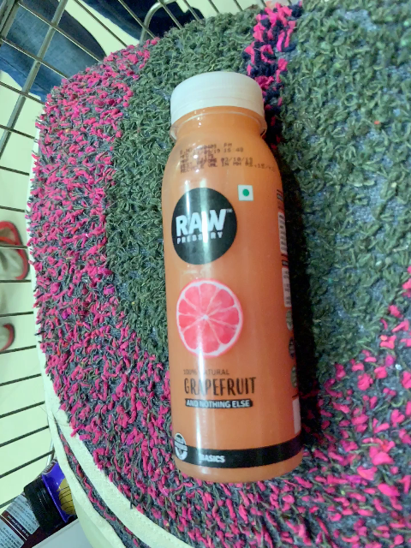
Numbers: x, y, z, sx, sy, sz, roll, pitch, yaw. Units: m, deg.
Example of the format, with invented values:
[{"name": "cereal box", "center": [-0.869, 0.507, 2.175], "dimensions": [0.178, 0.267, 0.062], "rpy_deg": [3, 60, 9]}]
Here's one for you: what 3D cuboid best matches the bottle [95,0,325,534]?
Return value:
[{"name": "bottle", "center": [0.005, -0.006, 0.162], "dimensions": [0.060, 0.060, 0.160], "rpy_deg": [-4, 81, 29]}]
